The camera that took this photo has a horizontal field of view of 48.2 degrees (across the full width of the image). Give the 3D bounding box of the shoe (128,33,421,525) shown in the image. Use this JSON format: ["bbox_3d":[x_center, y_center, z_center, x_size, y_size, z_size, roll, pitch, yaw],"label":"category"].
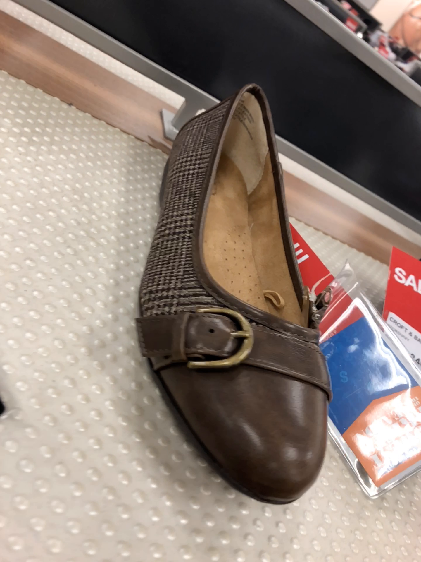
[{"bbox_3d":[0.019,-0.032,0.262,0.093,0.079,0.279,23,36,-26],"label":"shoe"}]
